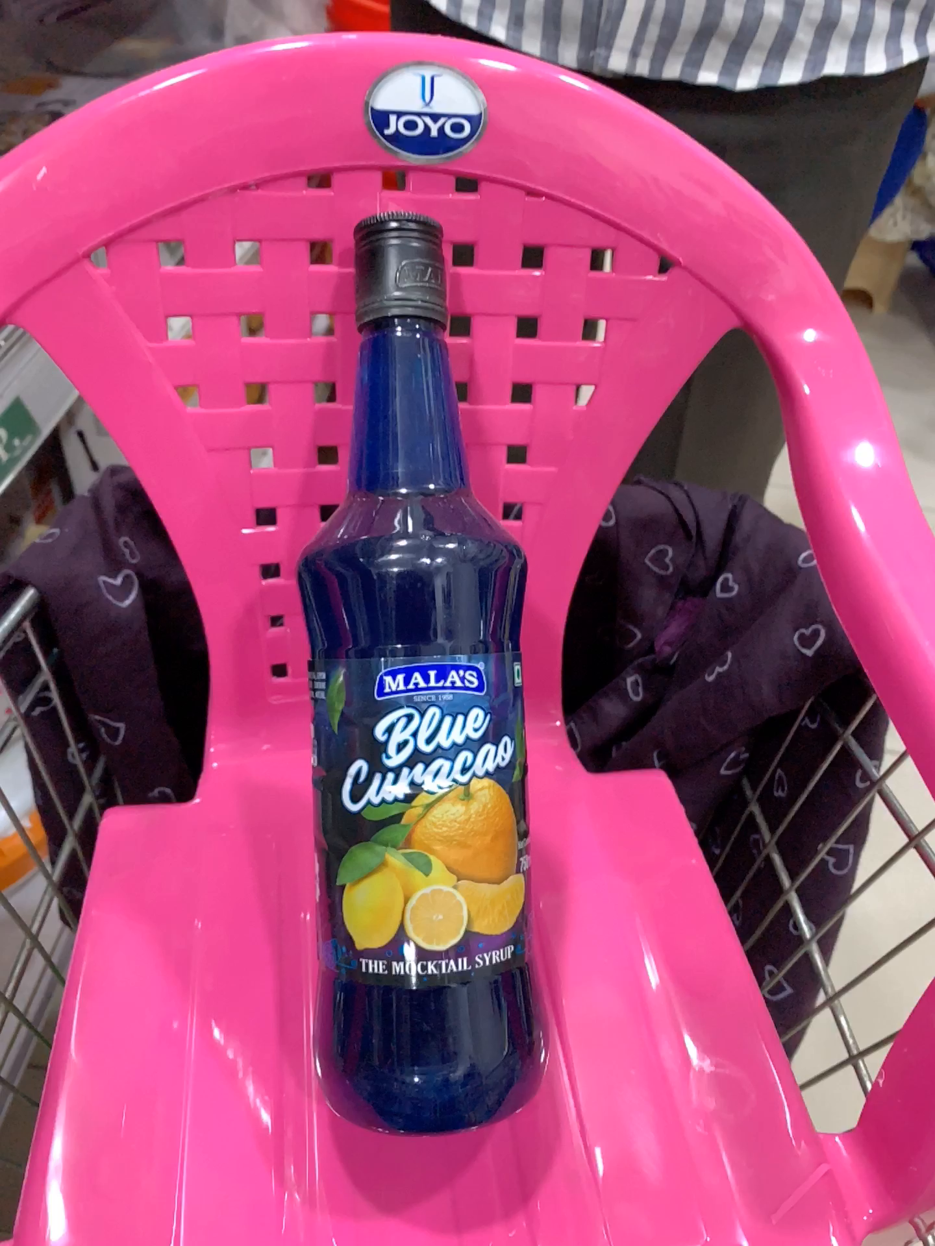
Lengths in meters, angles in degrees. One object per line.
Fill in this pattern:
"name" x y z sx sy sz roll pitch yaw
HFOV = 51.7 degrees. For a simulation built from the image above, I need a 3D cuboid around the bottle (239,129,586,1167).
"bottle" -0.020 0.006 0.296 0.080 0.270 0.080 -3 3 0
